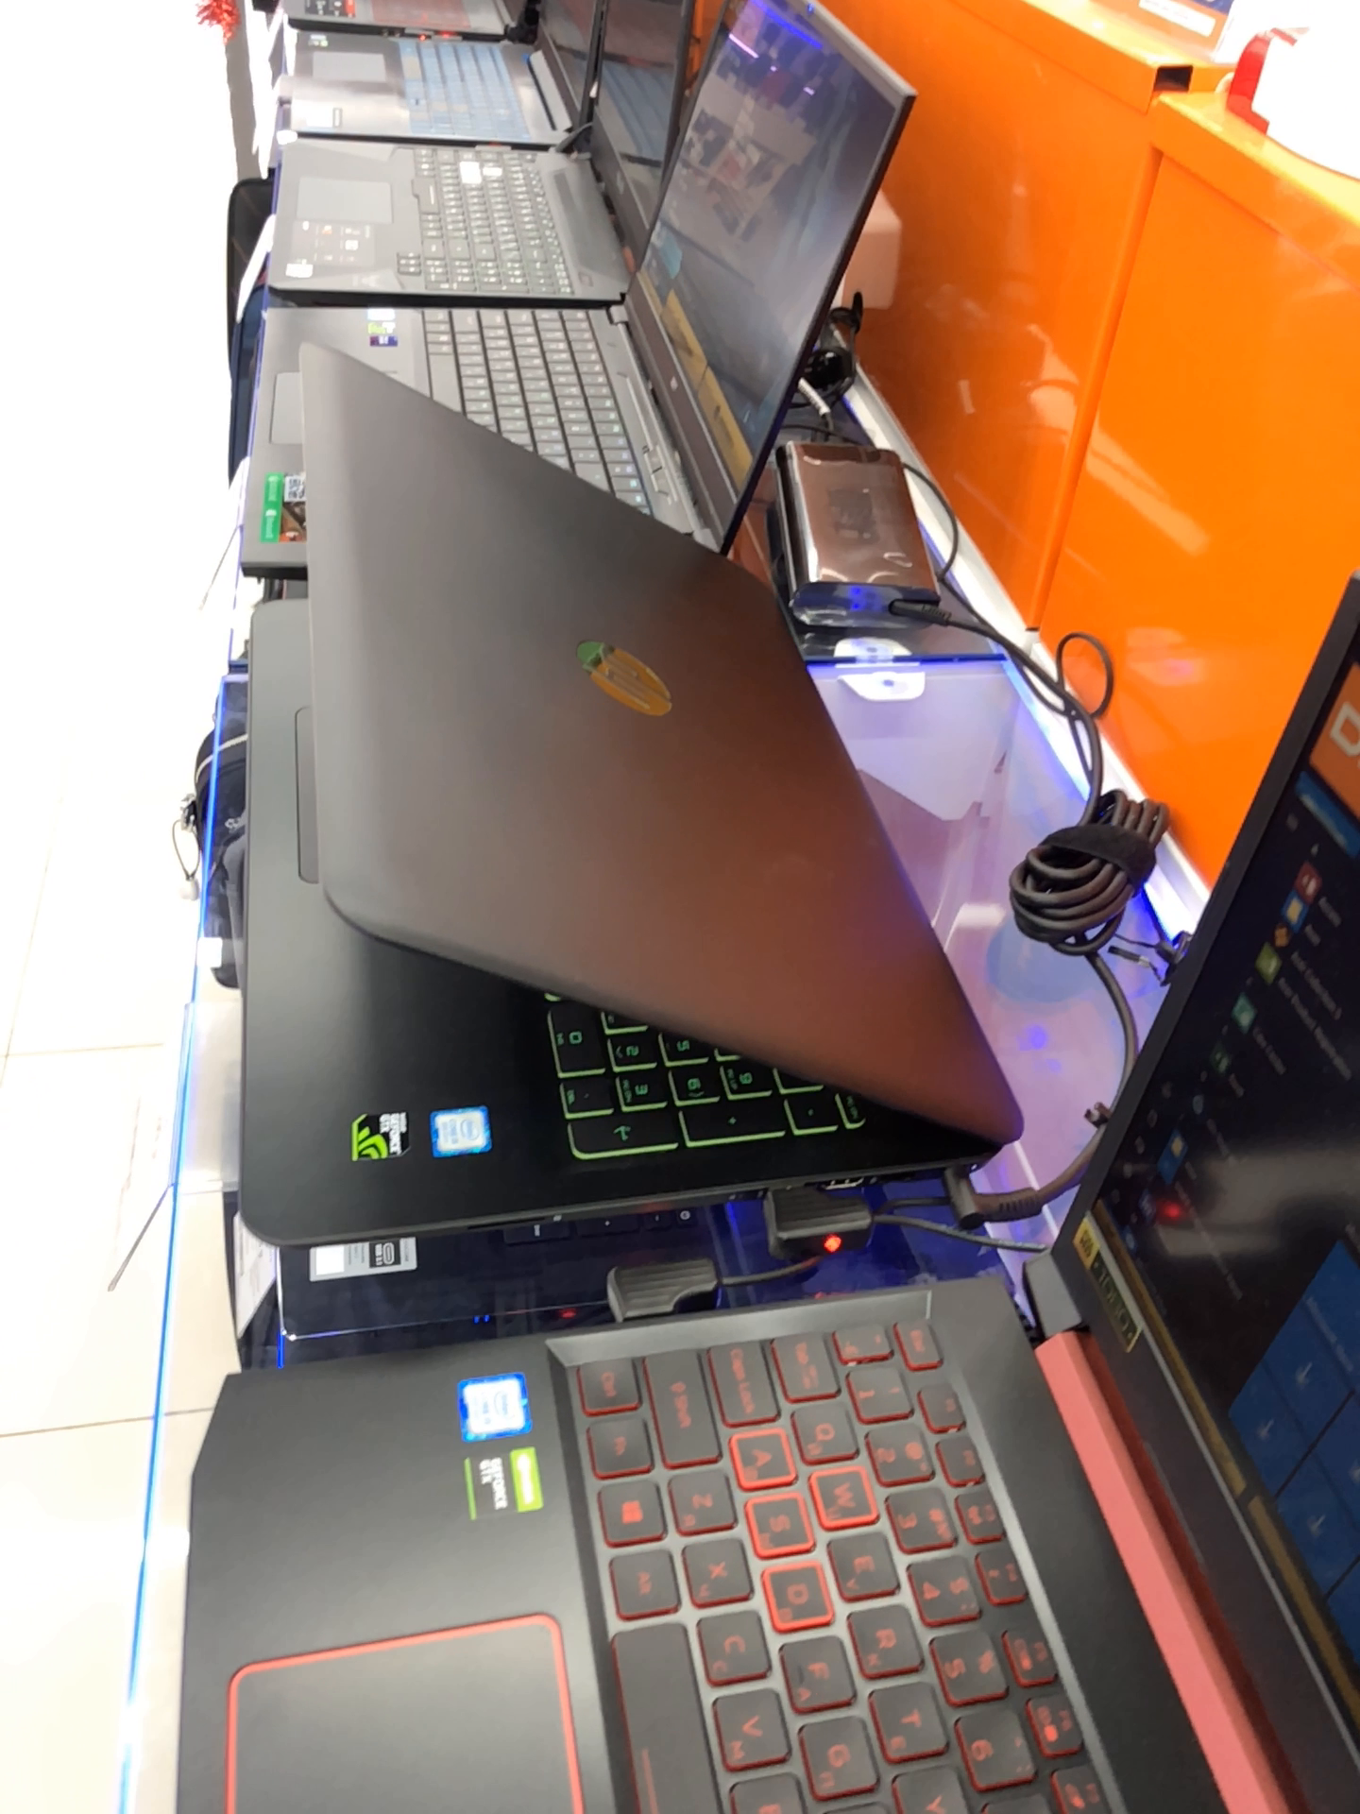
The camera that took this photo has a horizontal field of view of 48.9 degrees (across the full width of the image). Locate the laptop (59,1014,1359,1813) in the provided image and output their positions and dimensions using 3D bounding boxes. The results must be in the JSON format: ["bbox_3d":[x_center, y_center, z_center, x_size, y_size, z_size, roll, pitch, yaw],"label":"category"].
[{"bbox_3d":[-0.021,0.267,0.518,0.274,0.255,0.399,-3,39,-11],"label":"laptop"}]

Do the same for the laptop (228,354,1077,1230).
[{"bbox_3d":[-0.037,-0.080,0.567,0.227,0.118,0.371,-4,41,-10],"label":"laptop"}]

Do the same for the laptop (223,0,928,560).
[{"bbox_3d":[-0.080,-0.380,0.836,0.303,0.219,0.342,-4,41,-10],"label":"laptop"}]

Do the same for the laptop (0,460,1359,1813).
[{"bbox_3d":[0.059,0.158,0.196,0.253,0.245,0.411,-7,41,-13],"label":"laptop"}]

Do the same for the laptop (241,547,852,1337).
[{"bbox_3d":[-0.097,-0.008,0.863,0.262,0.217,0.413,-3,41,-10],"label":"laptop"}]
